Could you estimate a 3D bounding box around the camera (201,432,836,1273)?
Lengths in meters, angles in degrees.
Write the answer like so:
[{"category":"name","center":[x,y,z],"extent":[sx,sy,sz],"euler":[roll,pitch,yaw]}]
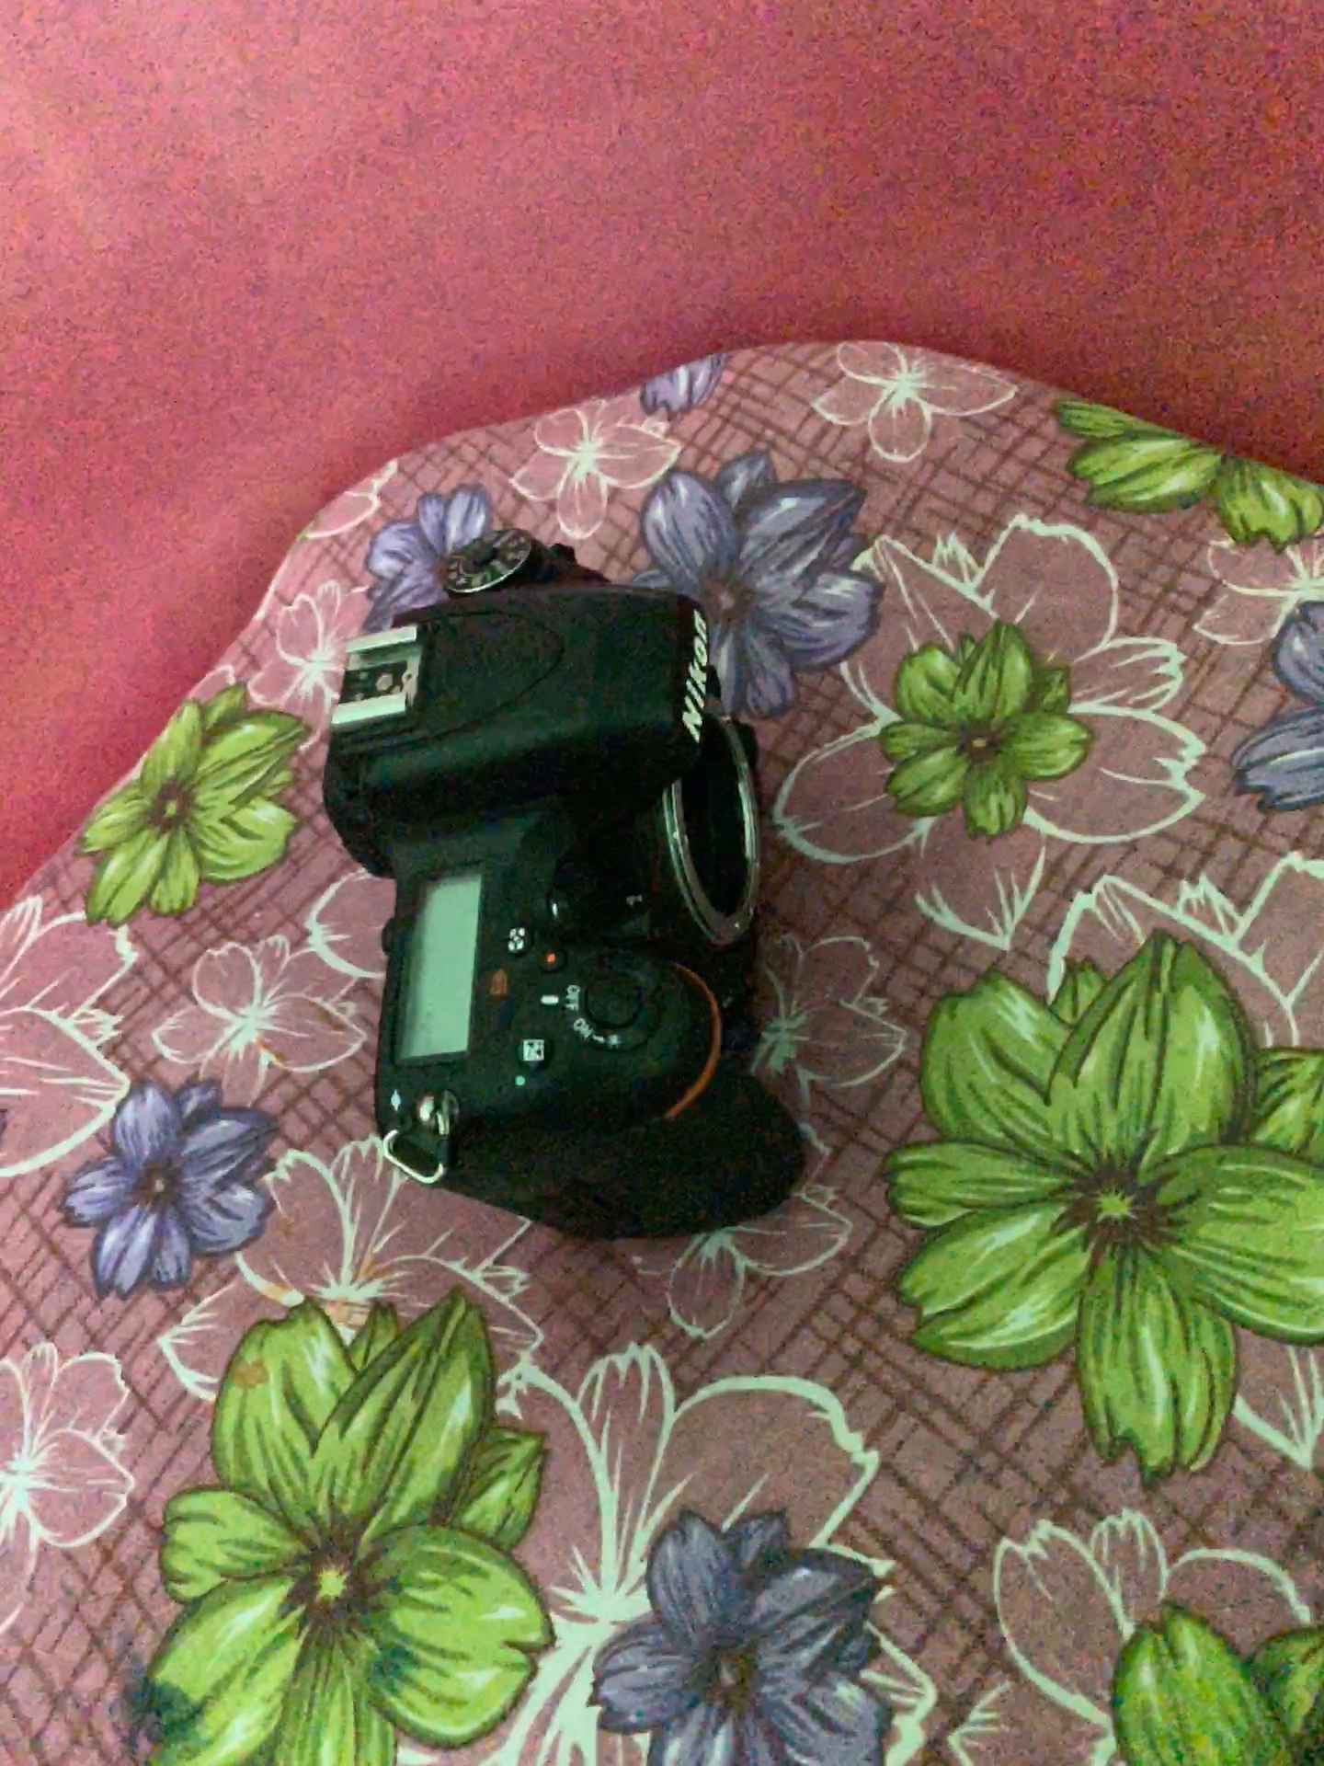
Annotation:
[{"category":"camera","center":[-0.020,0.000,0.283],"extent":[0.093,0.090,0.140],"euler":[-7,64,13]}]
